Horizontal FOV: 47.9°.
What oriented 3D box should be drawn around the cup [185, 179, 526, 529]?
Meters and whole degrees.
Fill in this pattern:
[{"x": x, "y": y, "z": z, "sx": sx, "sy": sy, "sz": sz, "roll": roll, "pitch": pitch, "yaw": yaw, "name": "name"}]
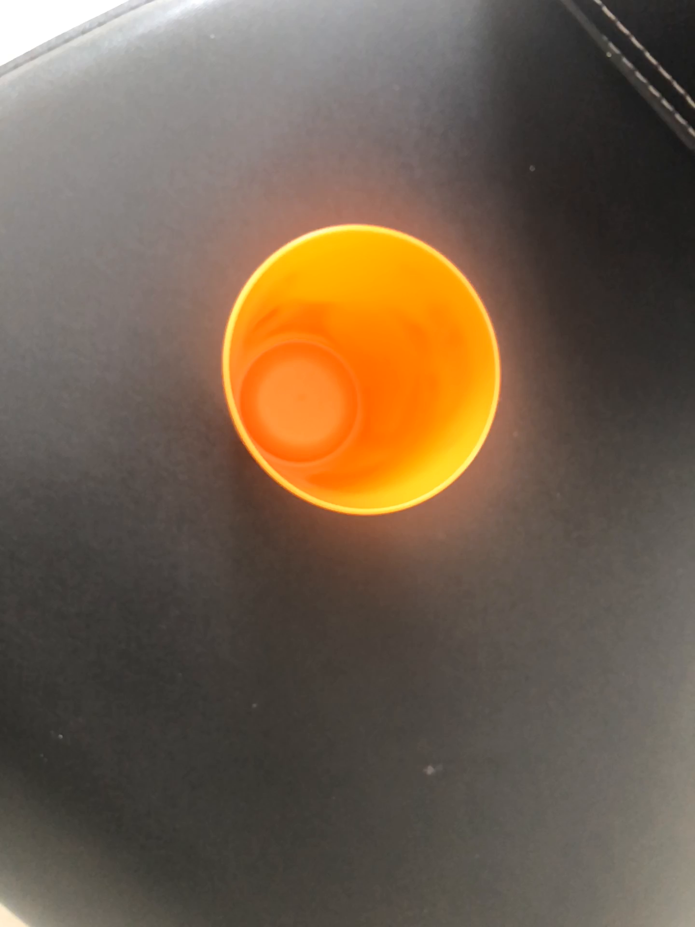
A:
[{"x": -0.004, "y": -0.027, "z": 0.260, "sx": 0.080, "sy": 0.090, "sz": 0.080, "roll": 1, "pitch": 87, "yaw": -13, "name": "cup"}]
